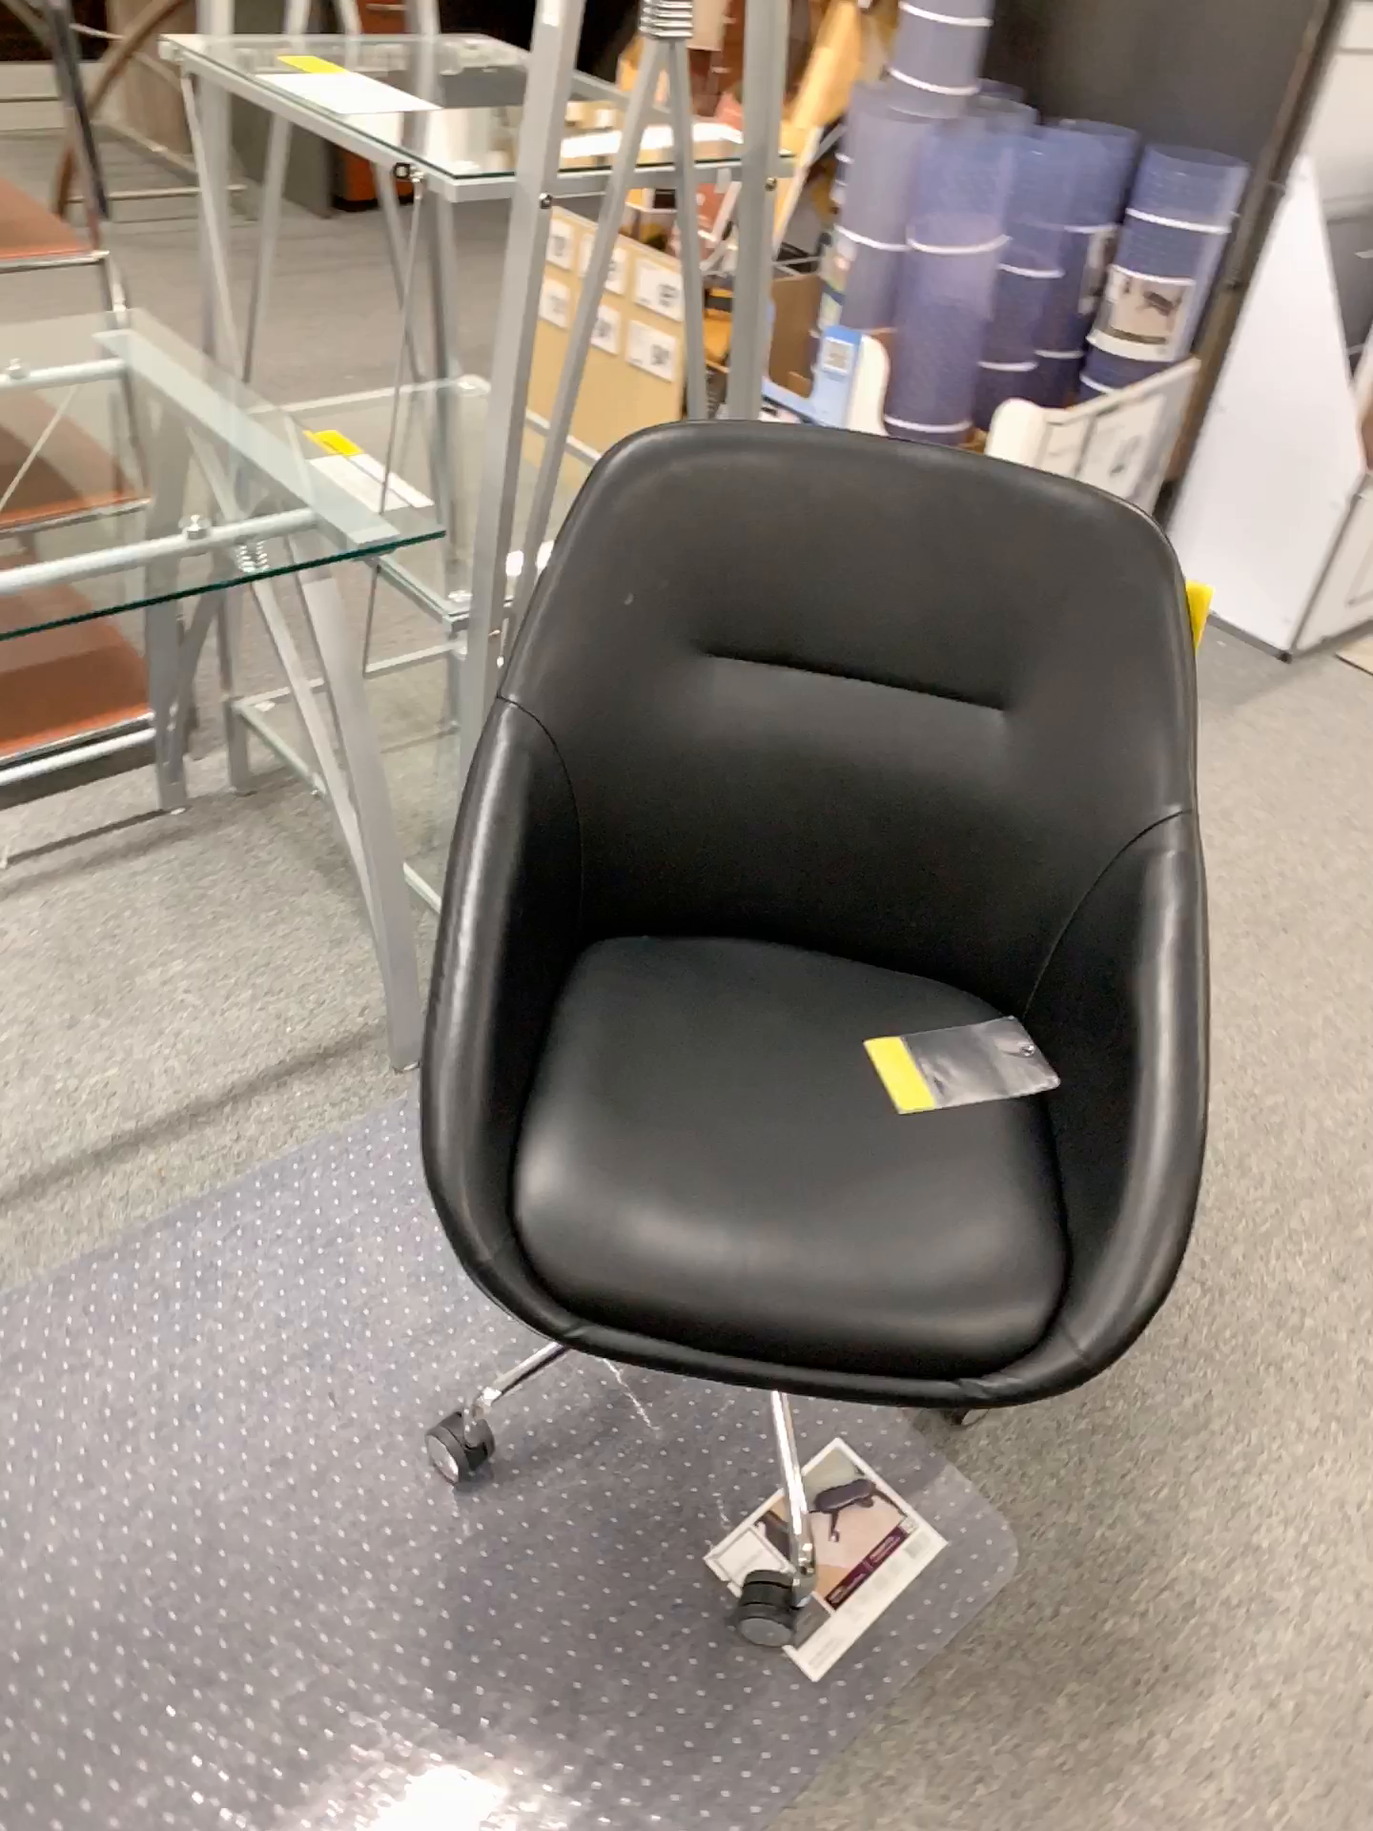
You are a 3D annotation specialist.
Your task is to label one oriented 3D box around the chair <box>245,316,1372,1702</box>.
[{"bbox_3d":[0.102,0.100,1.163,0.670,0.885,0.624,7,39,-1],"label":"chair"}]
